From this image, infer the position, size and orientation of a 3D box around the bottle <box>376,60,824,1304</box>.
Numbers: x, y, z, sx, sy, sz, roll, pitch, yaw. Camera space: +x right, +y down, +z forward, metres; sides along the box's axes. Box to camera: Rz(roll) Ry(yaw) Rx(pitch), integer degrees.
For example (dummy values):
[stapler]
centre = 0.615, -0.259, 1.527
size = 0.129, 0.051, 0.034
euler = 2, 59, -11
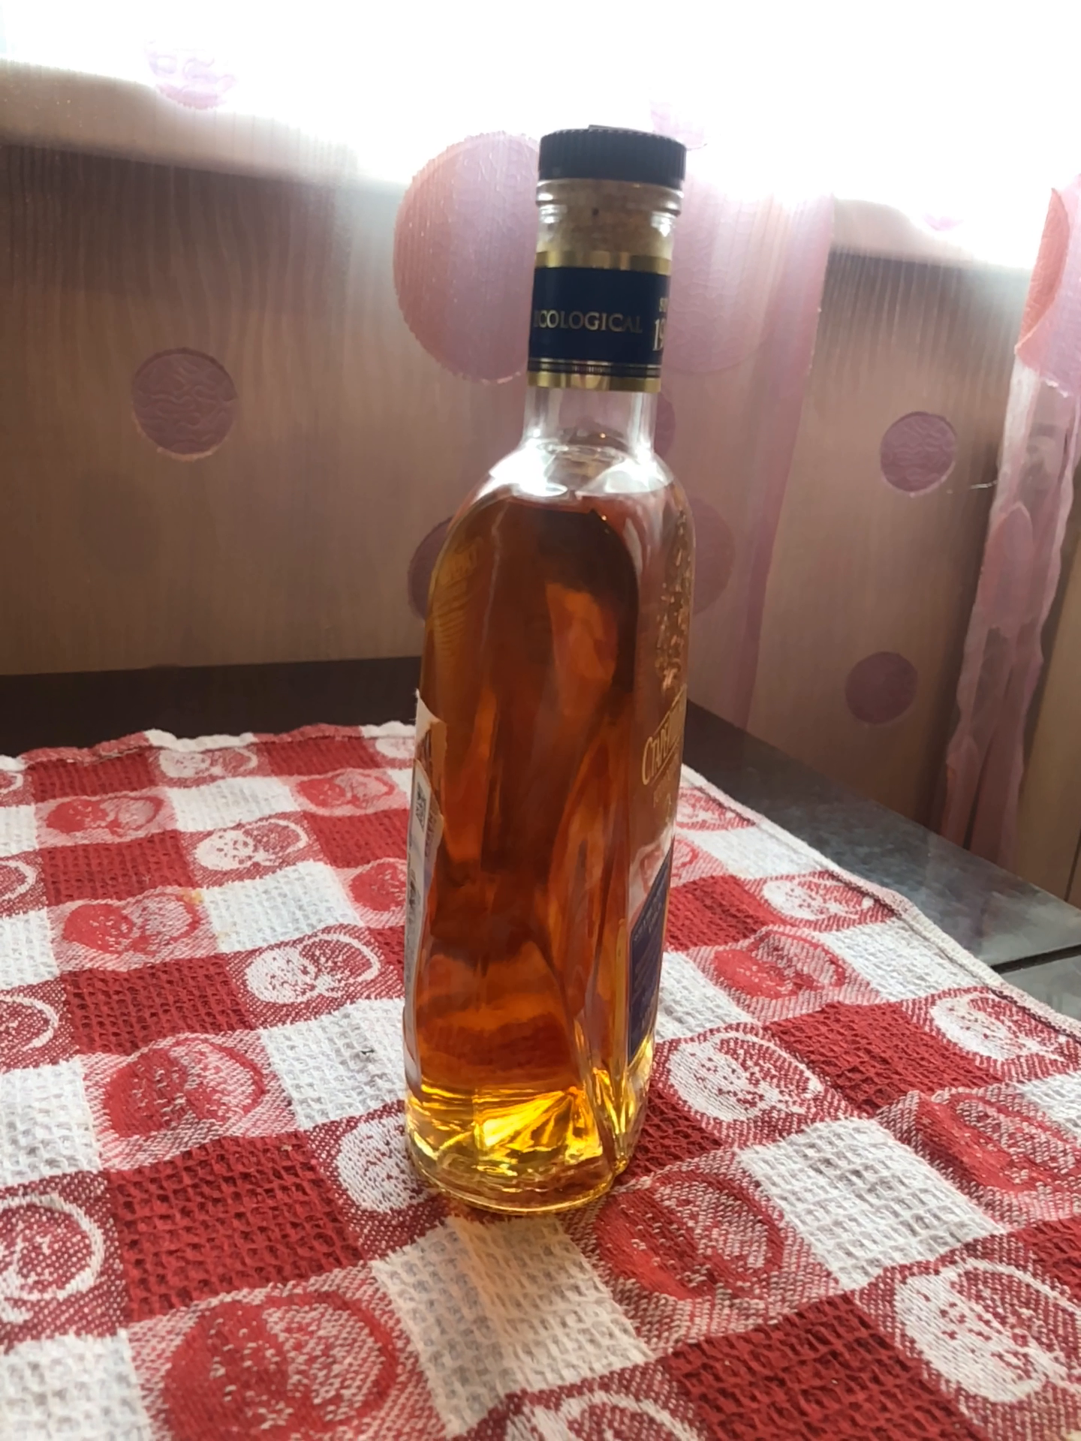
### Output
[bottle]
centre = 0.015, -0.008, 0.261
size = 0.050, 0.219, 0.110
euler = 10, 18, 16
